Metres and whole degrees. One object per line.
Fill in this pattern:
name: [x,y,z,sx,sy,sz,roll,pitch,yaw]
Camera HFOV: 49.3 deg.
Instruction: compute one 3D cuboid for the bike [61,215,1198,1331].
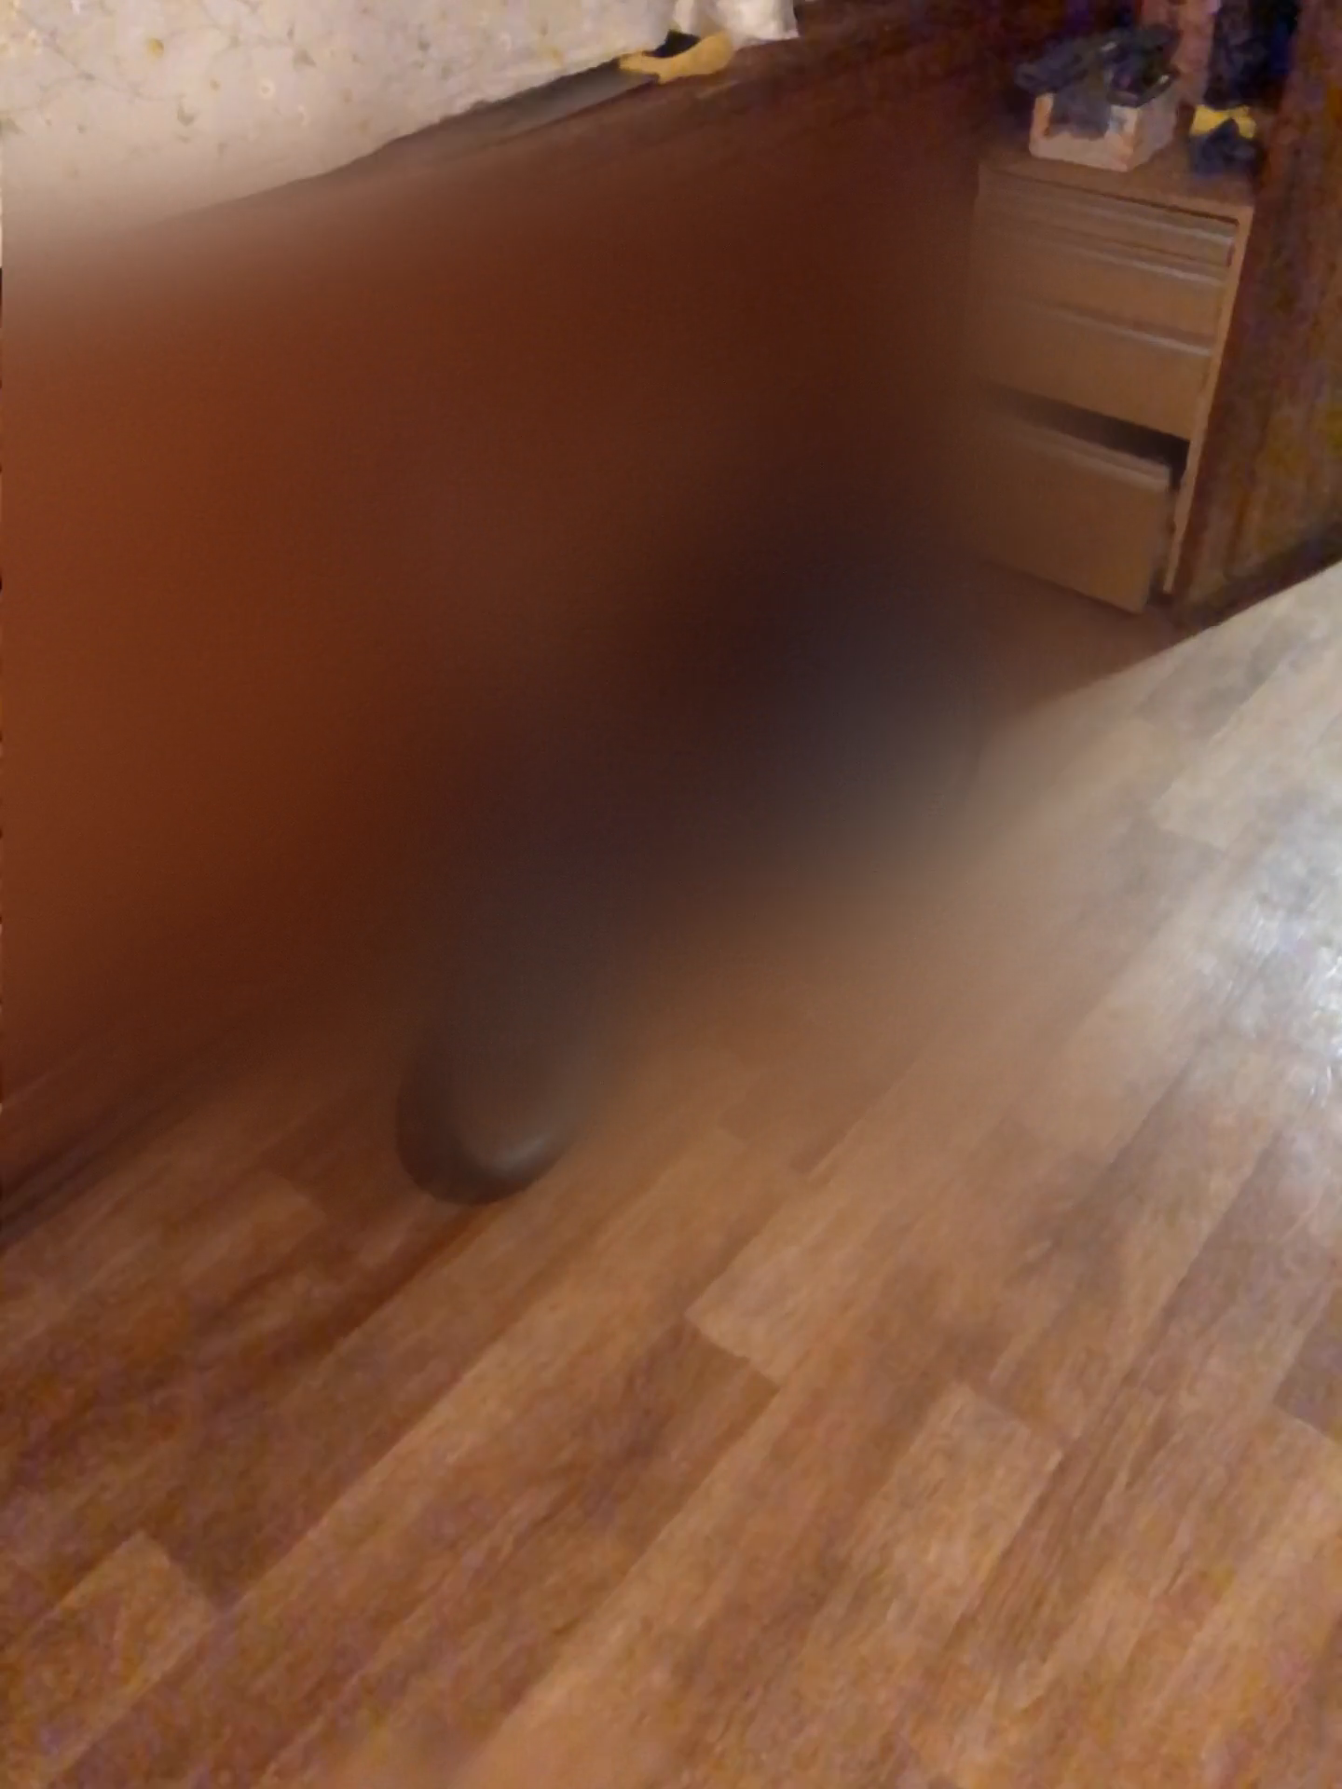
bike: [0.025,-0.213,1.585,0.594,0.697,0.960,29,48,31]
